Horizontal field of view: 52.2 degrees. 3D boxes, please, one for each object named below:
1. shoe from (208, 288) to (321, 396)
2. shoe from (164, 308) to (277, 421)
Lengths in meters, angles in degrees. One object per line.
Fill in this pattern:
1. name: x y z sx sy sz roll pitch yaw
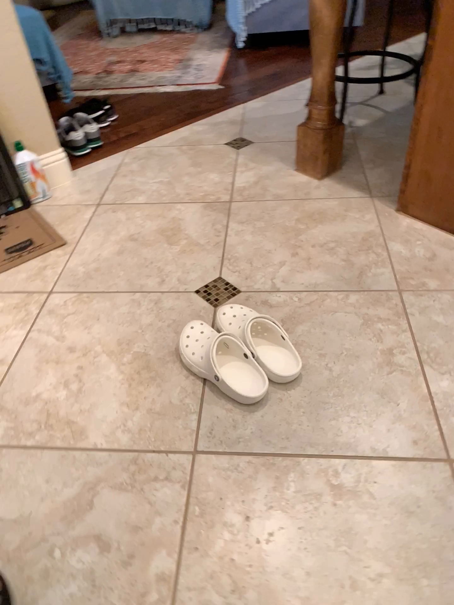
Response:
1. shoe: 0.084 0.086 1.114 0.129 0.073 0.262 -28 46 -22
2. shoe: -0.018 0.132 1.059 0.119 0.073 0.262 -30 47 -25
